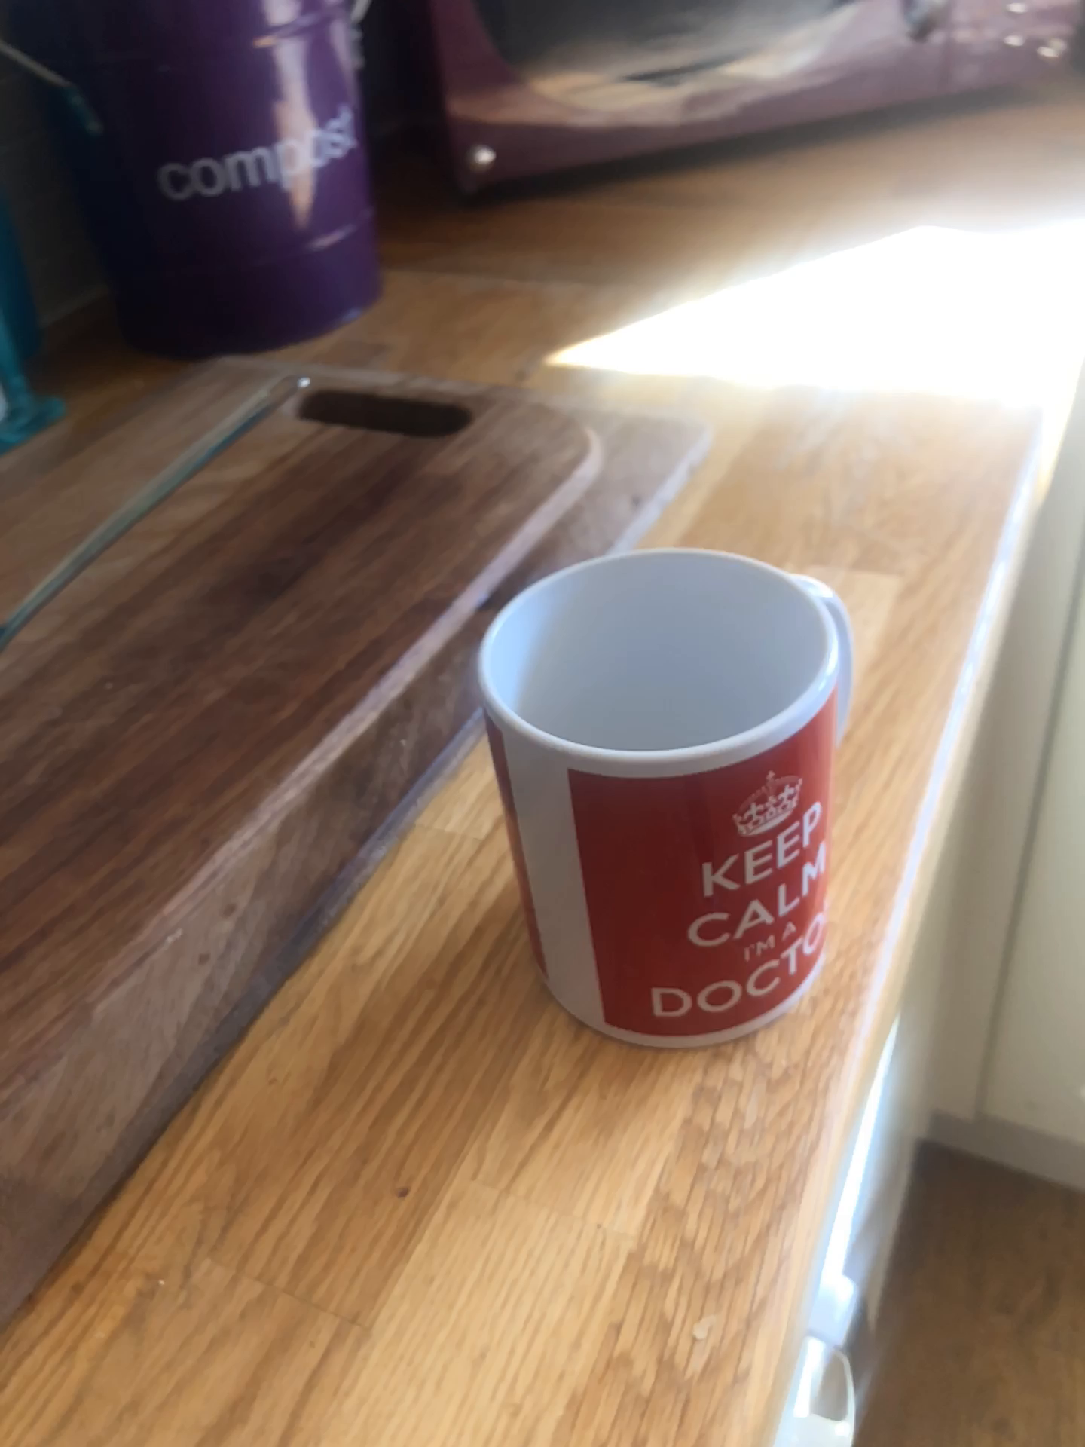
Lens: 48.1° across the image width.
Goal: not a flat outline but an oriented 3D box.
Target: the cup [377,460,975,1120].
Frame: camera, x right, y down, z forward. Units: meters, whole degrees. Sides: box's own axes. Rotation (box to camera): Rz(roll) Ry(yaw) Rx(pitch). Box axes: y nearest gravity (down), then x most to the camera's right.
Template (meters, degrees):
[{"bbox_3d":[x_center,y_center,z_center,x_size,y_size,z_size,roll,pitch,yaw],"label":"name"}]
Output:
[{"bbox_3d":[0.042,0.008,0.314,0.089,0.094,0.124,18,45,34],"label":"cup"}]
